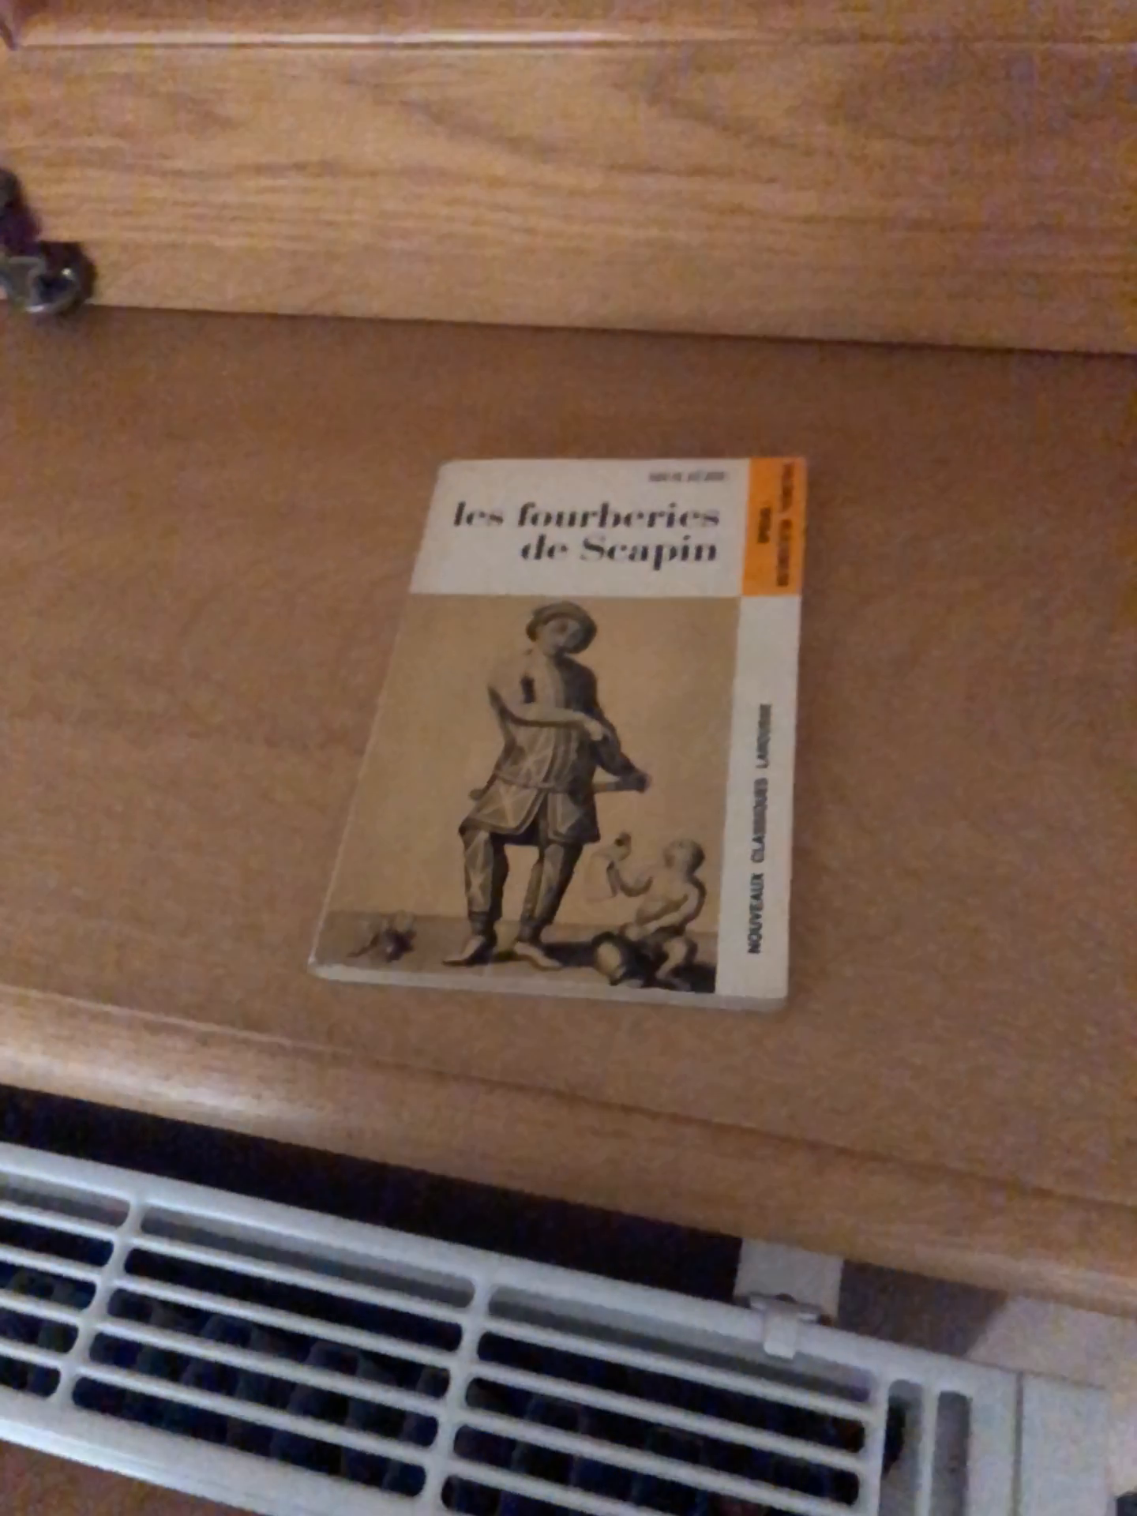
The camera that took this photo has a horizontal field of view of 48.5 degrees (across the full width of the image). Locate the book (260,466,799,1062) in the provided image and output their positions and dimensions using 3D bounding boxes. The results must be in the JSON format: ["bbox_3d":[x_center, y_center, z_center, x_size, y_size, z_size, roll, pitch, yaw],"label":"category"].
[{"bbox_3d":[-0.001,-0.011,0.334,0.117,0.015,0.175,2,56,10],"label":"book"}]
